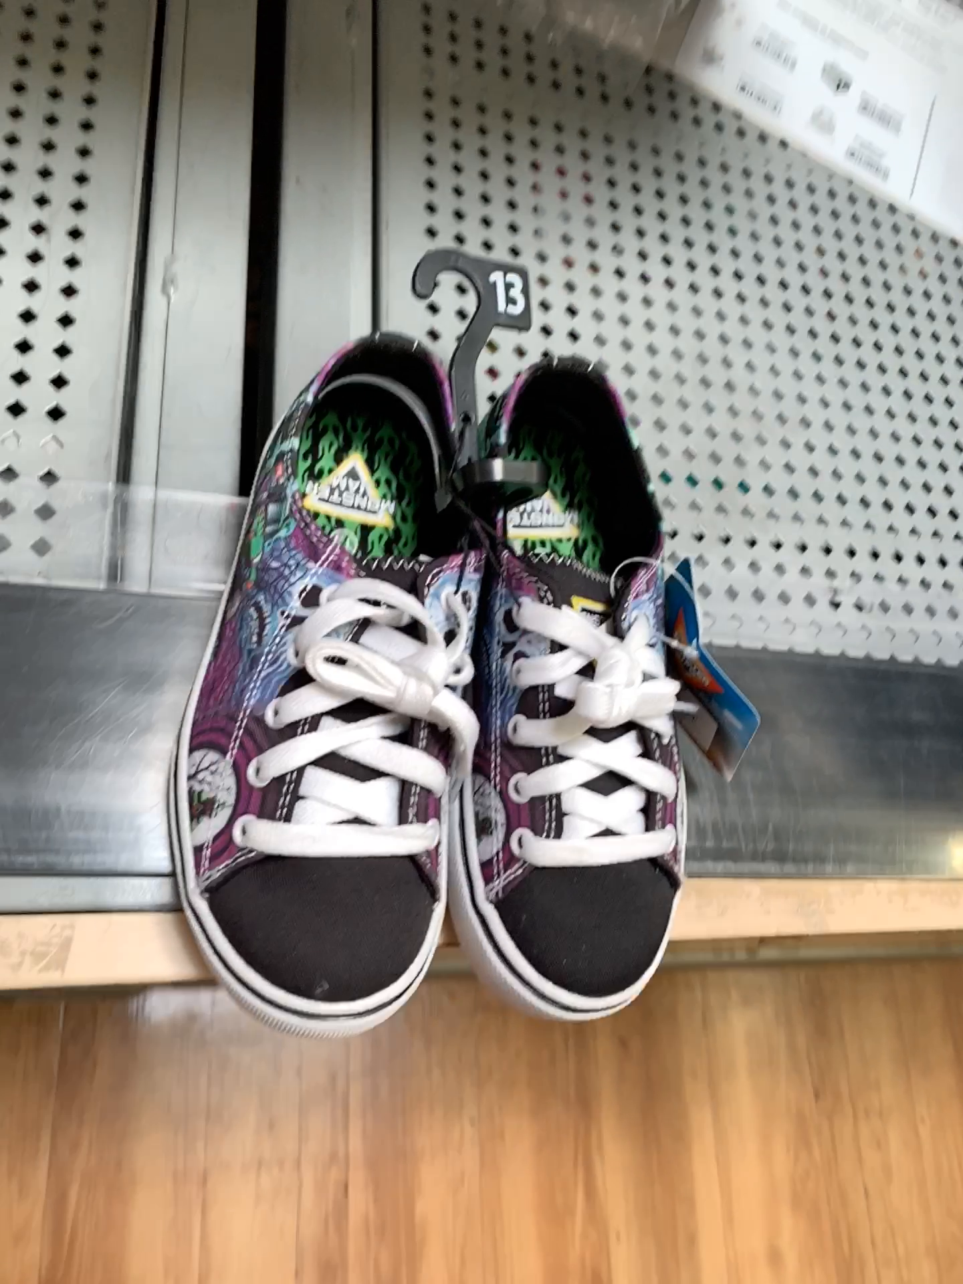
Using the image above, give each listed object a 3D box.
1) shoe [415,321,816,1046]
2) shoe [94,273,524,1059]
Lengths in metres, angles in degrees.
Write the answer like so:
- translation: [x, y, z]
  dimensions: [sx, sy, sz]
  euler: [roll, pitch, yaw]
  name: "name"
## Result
- translation: [0.034, 0.013, 0.328]
  dimensions: [0.089, 0.073, 0.212]
  euler: [3, 72, -18]
  name: "shoe"
- translation: [-0.047, 0.009, 0.299]
  dimensions: [0.091, 0.073, 0.207]
  euler: [9, 70, -16]
  name: "shoe"
